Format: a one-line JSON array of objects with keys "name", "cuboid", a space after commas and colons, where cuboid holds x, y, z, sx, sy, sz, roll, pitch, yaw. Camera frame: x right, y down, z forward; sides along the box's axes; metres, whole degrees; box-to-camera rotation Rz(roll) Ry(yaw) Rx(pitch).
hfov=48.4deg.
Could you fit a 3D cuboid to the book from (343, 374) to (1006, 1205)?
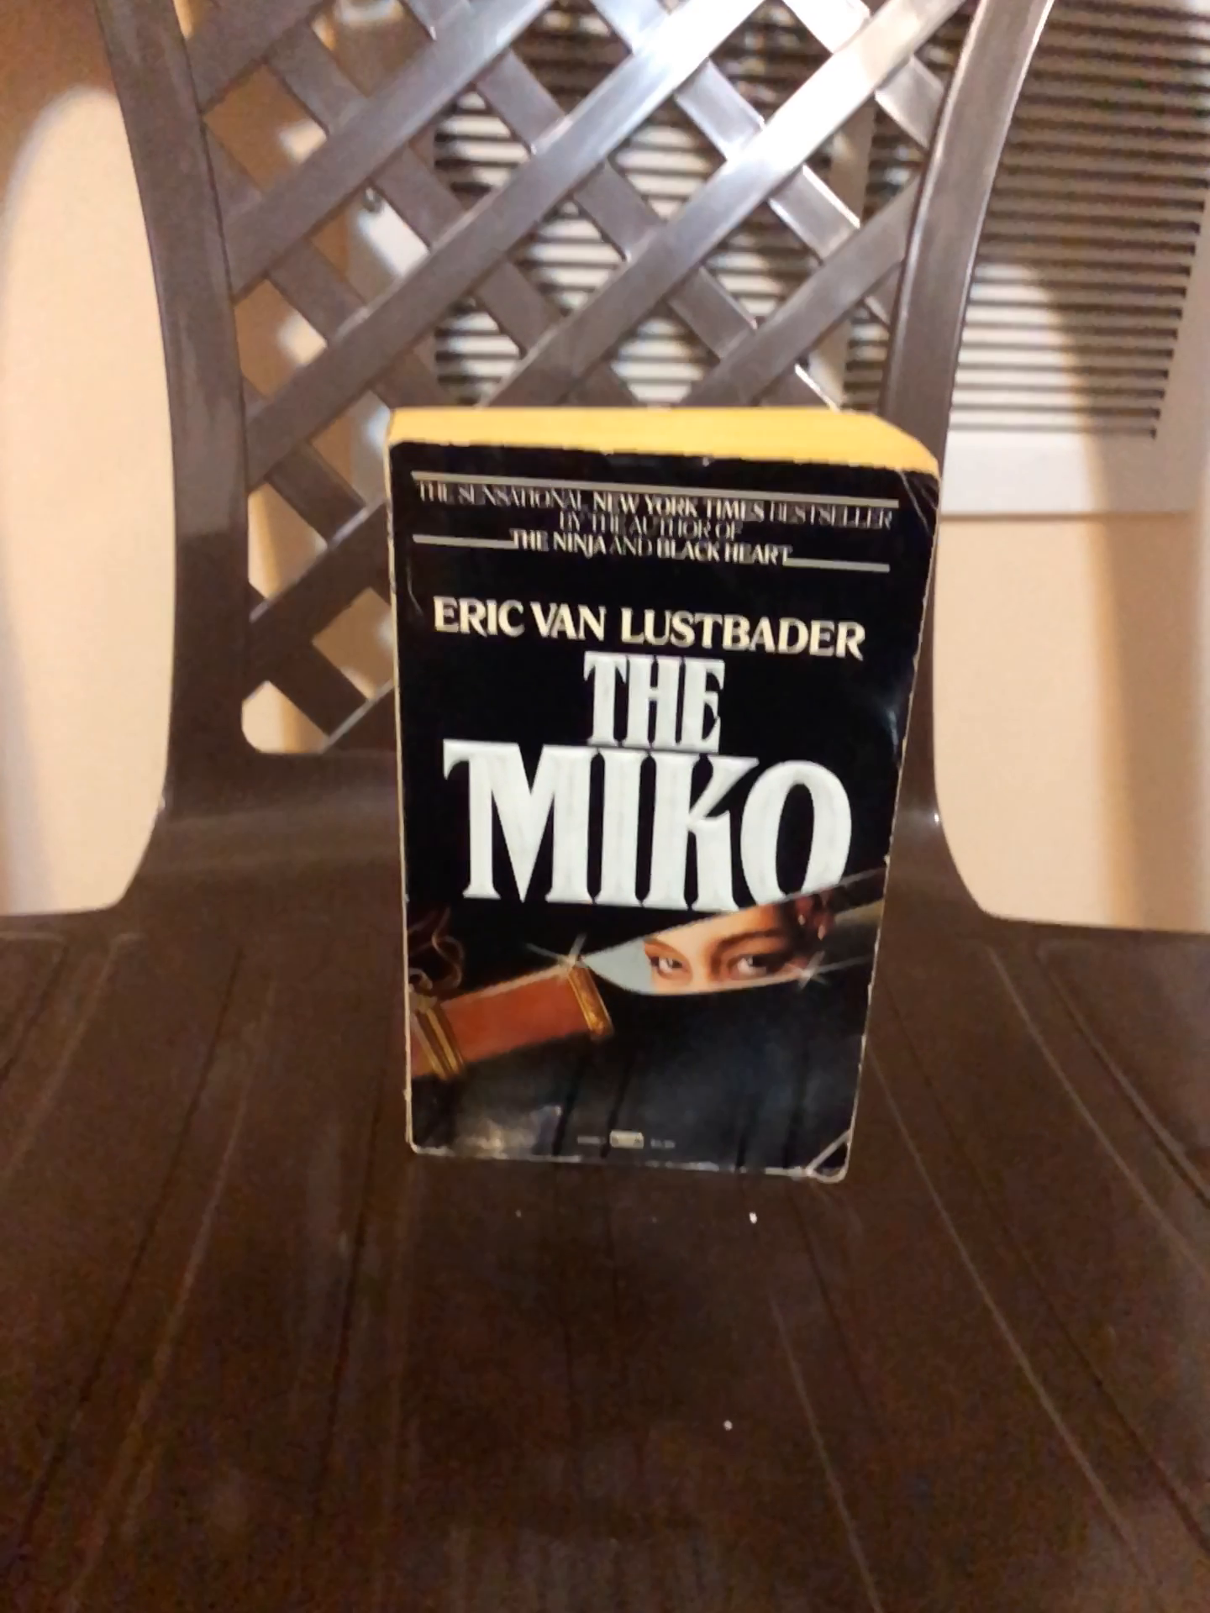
[{"name": "book", "cuboid": [0.008, 0.000, 0.291, 0.120, 0.169, 0.040, 3, 20, -1]}]
